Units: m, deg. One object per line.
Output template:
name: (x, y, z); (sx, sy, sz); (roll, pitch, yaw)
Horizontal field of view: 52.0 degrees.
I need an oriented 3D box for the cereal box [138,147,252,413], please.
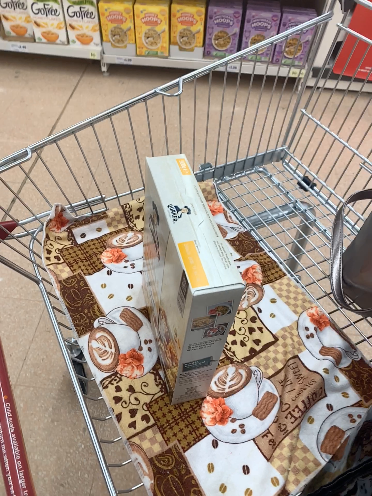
cereal box: (-0.012, 0.048, 0.463); (0.050, 0.258, 0.202); (-9, 50, -15)
